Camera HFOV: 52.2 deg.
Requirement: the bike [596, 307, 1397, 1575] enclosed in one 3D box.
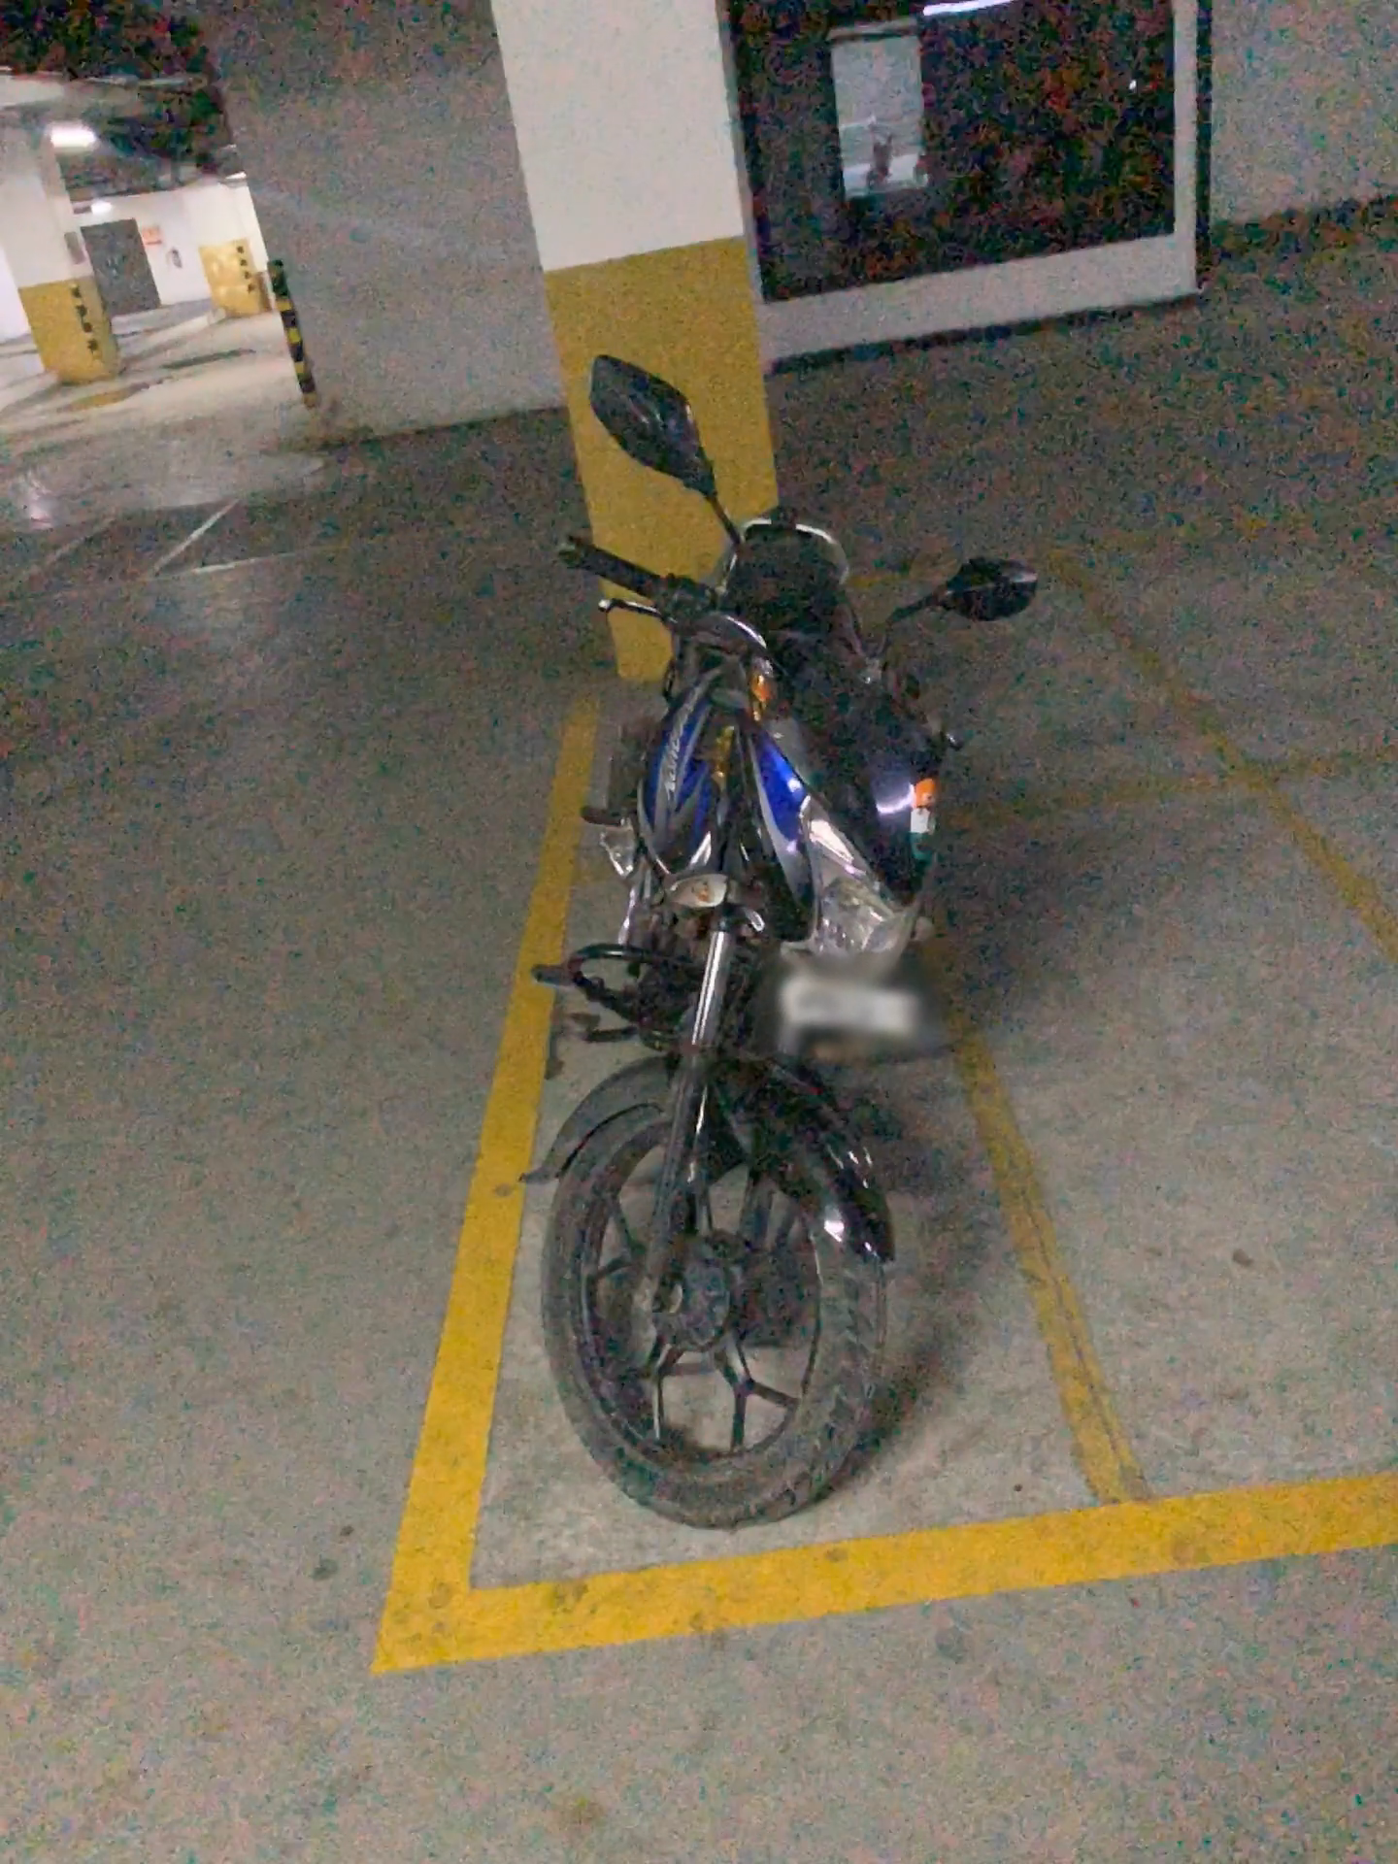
[{"bbox_3d":[0.370,-0.284,2.453,0.850,1.205,2.223,-10,27,1],"label":"bike"}]
